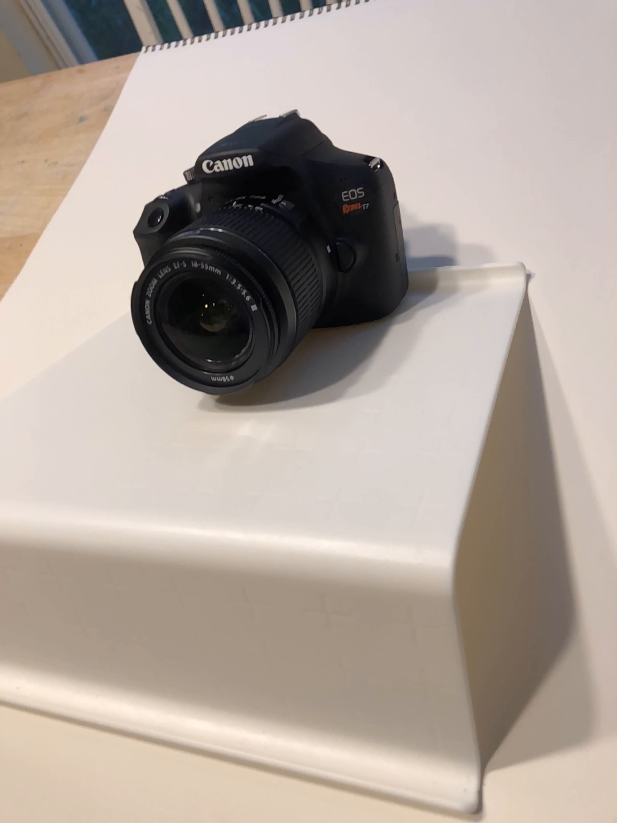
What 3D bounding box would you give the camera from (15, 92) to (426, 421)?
[{"bbox_3d":[-0.025,-0.078,0.325,0.126,0.104,0.140,2,30,23],"label":"camera"}]
